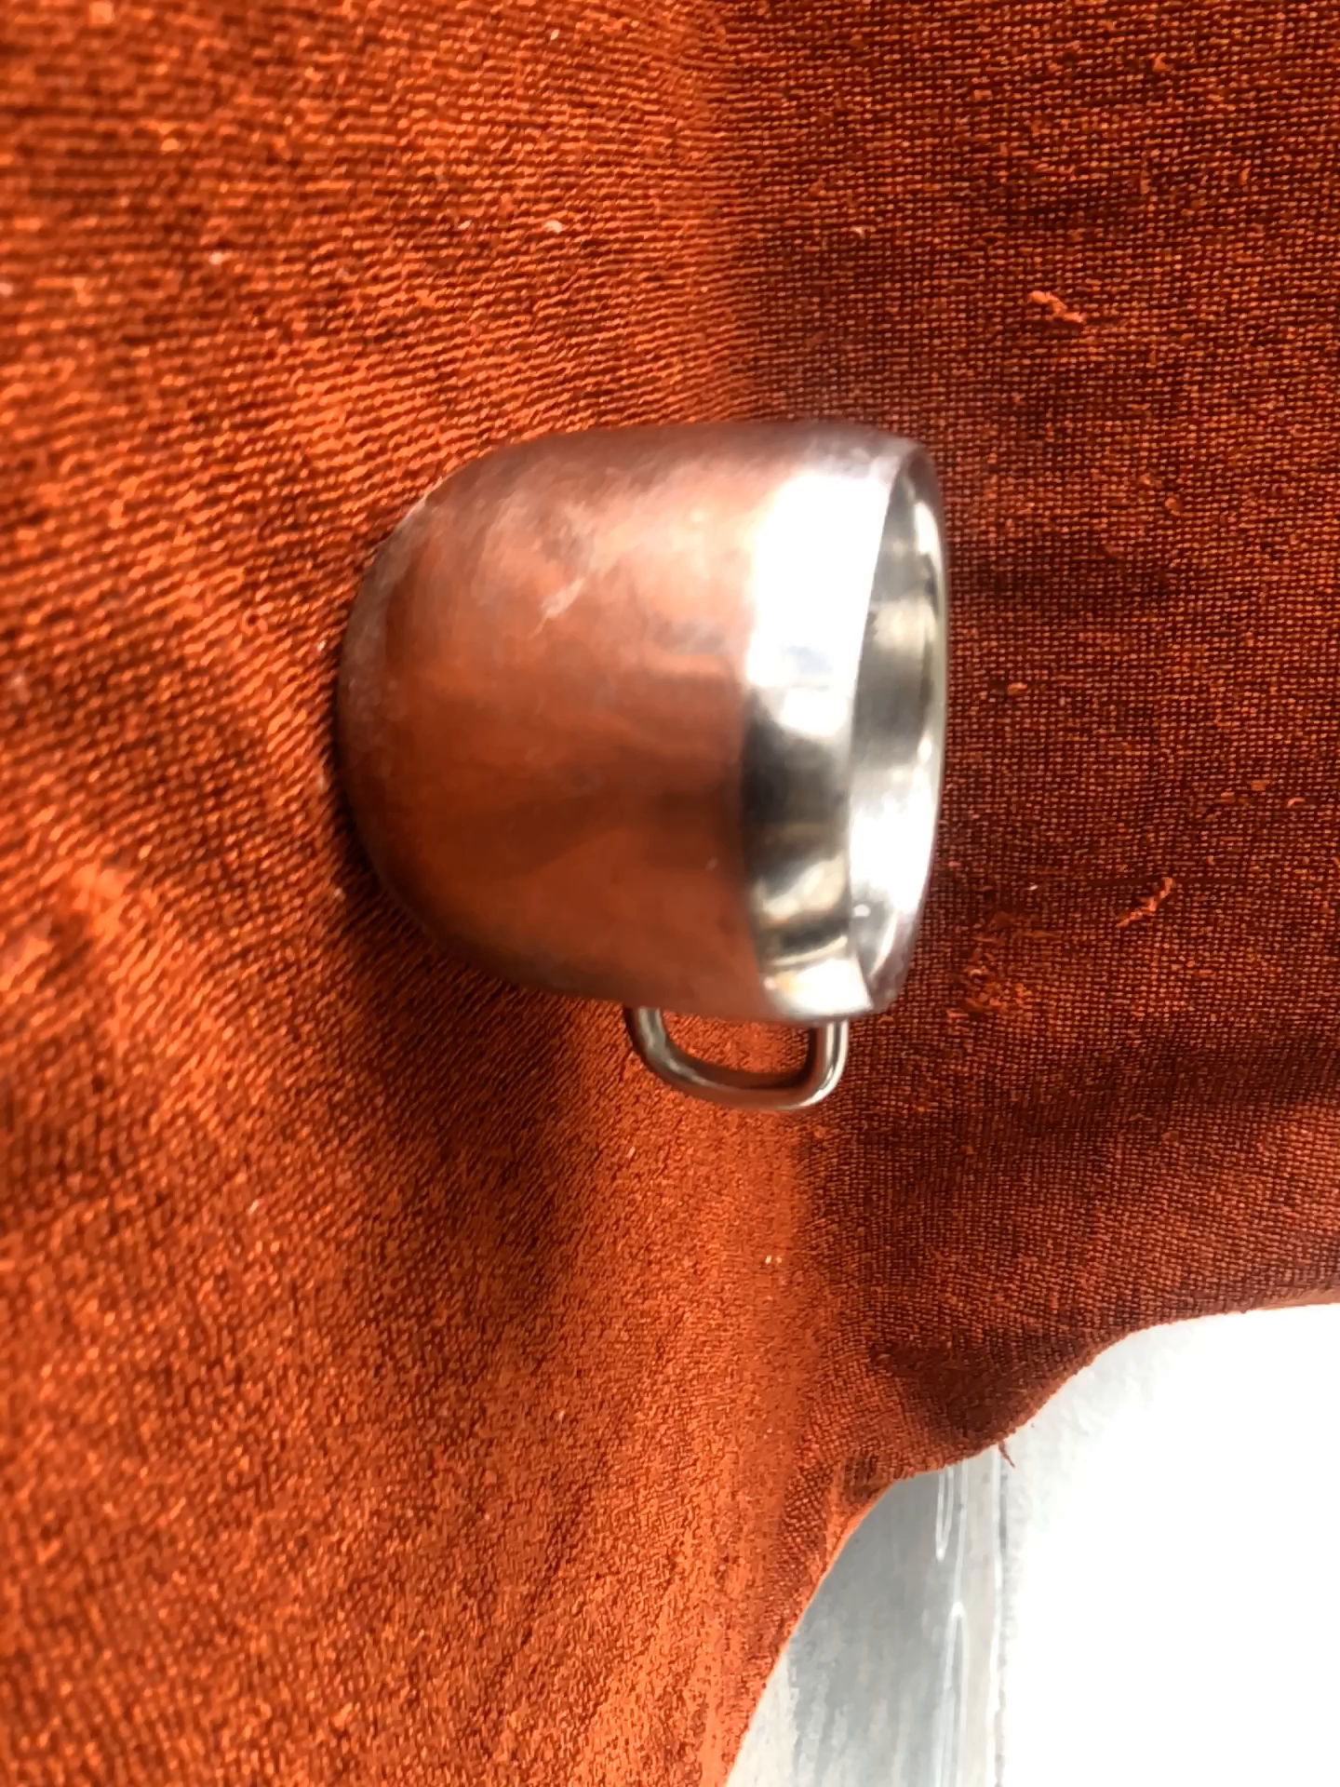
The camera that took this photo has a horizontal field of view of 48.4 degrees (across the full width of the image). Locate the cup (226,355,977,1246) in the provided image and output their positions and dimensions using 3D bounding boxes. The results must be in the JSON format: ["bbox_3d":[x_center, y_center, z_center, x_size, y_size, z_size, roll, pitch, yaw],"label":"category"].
[{"bbox_3d":[0.002,-0.009,0.187,0.090,0.060,0.060,74,28,-46],"label":"cup"}]
